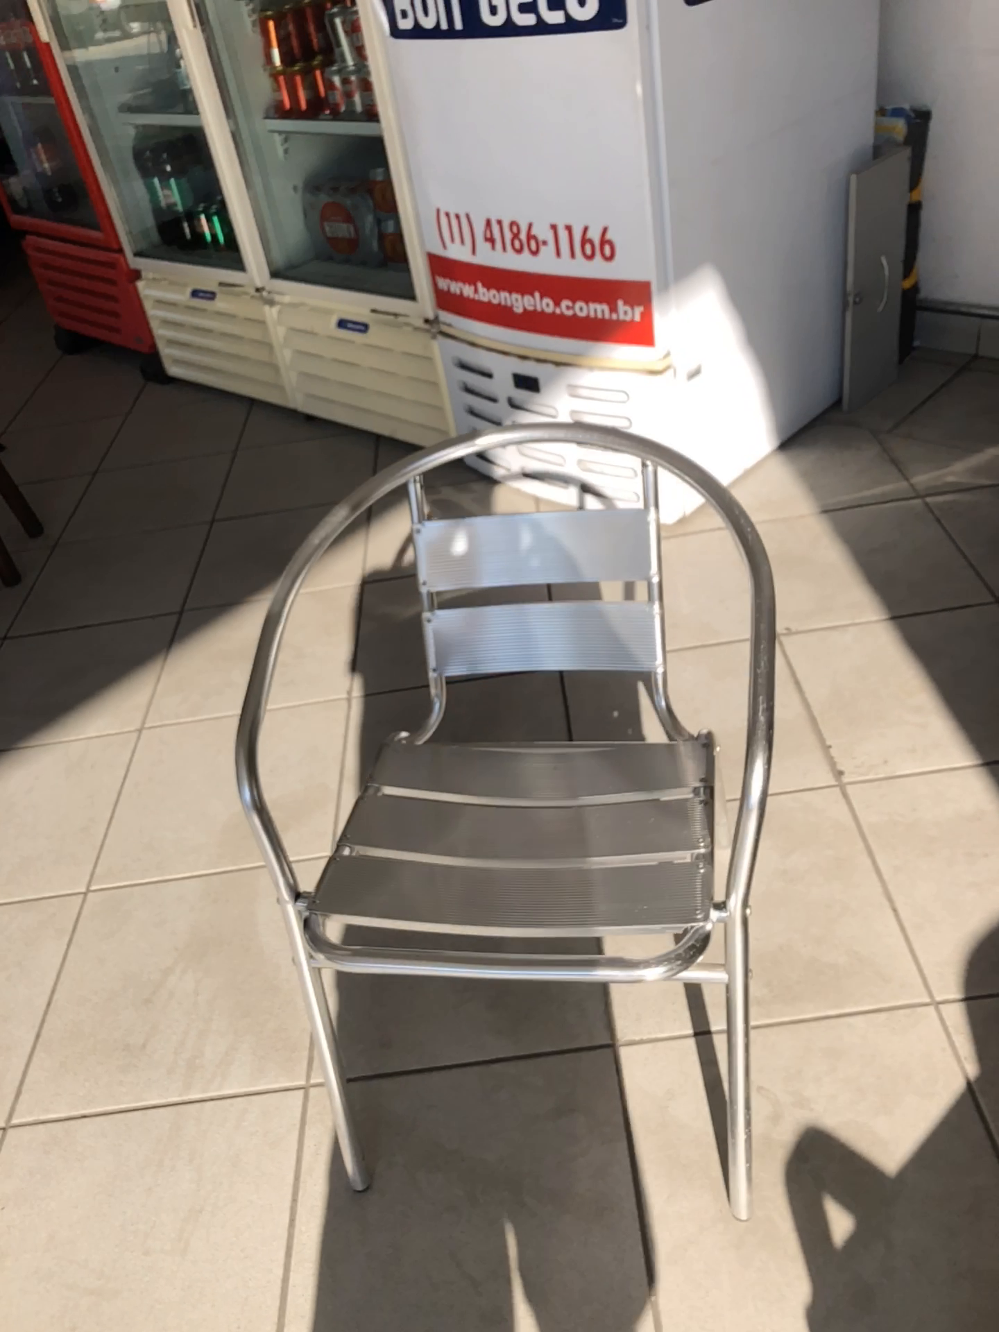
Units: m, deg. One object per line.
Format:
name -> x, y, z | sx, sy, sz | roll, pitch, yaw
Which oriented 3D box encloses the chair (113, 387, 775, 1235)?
chair -> 0.040, 0.154, 1.301 | 0.520, 0.705, 0.634 | -2, 36, 12
